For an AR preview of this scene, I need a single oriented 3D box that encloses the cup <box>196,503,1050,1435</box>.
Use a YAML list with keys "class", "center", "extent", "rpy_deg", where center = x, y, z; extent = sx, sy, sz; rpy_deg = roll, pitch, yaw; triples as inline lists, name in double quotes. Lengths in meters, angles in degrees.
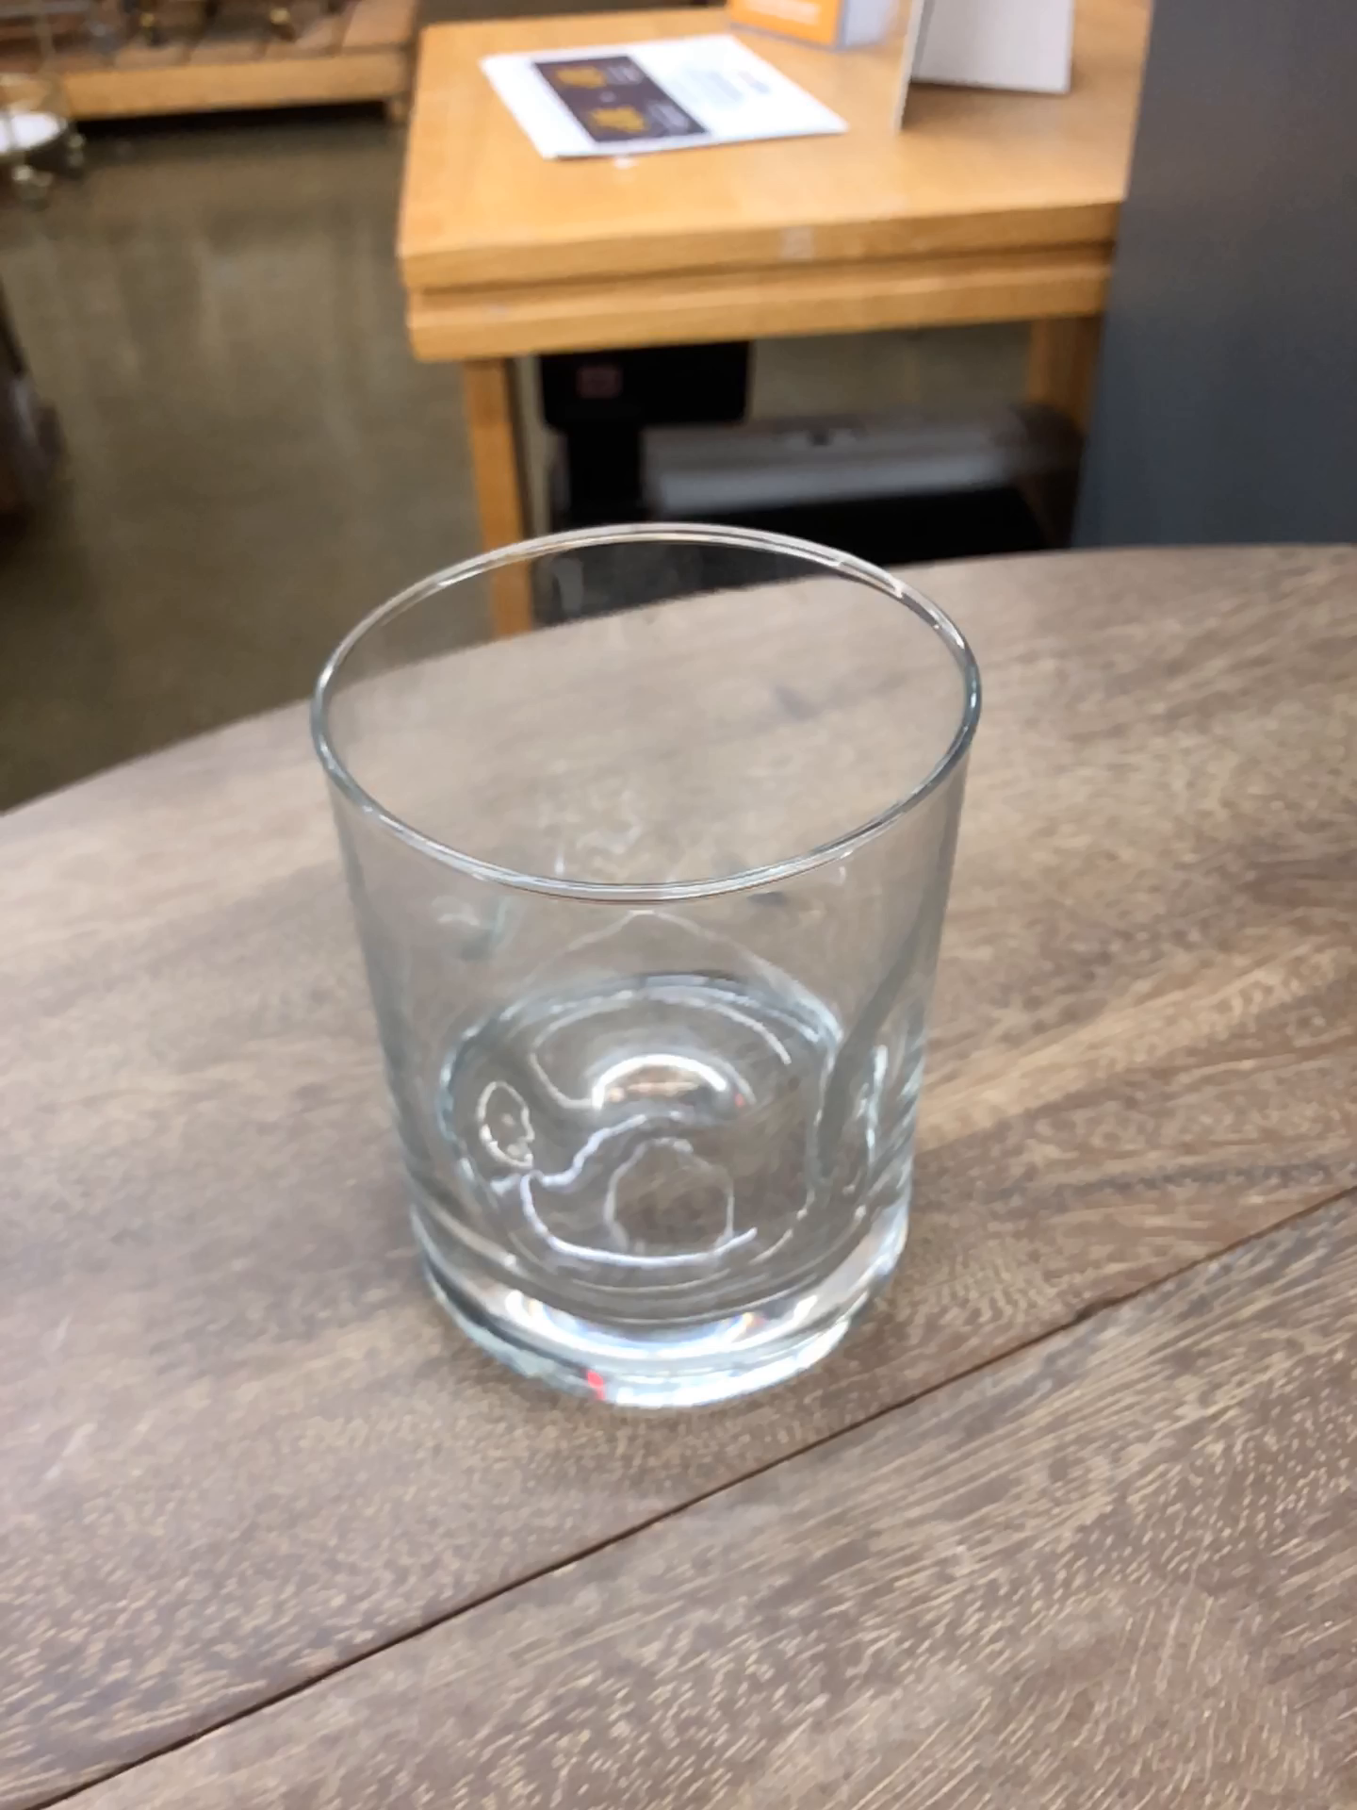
- class: "cup"
  center: [-0.004, 0.009, 0.213]
  extent: [0.084, 0.098, 0.084]
  rpy_deg: [-1, 40, 1]
